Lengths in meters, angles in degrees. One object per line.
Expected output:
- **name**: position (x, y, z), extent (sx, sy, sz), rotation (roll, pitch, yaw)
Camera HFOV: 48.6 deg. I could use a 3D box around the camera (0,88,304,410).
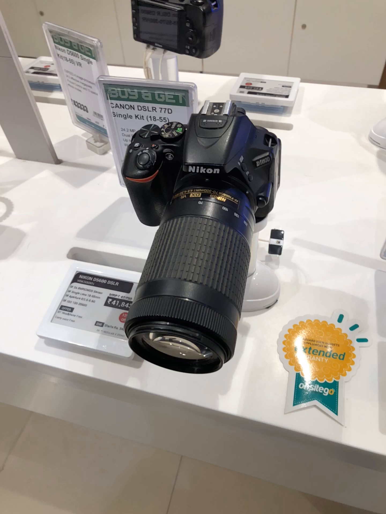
- **camera**: position (-0.007, -0.022, 0.300), extent (0.140, 0.089, 0.201), rotation (8, 50, 11)
